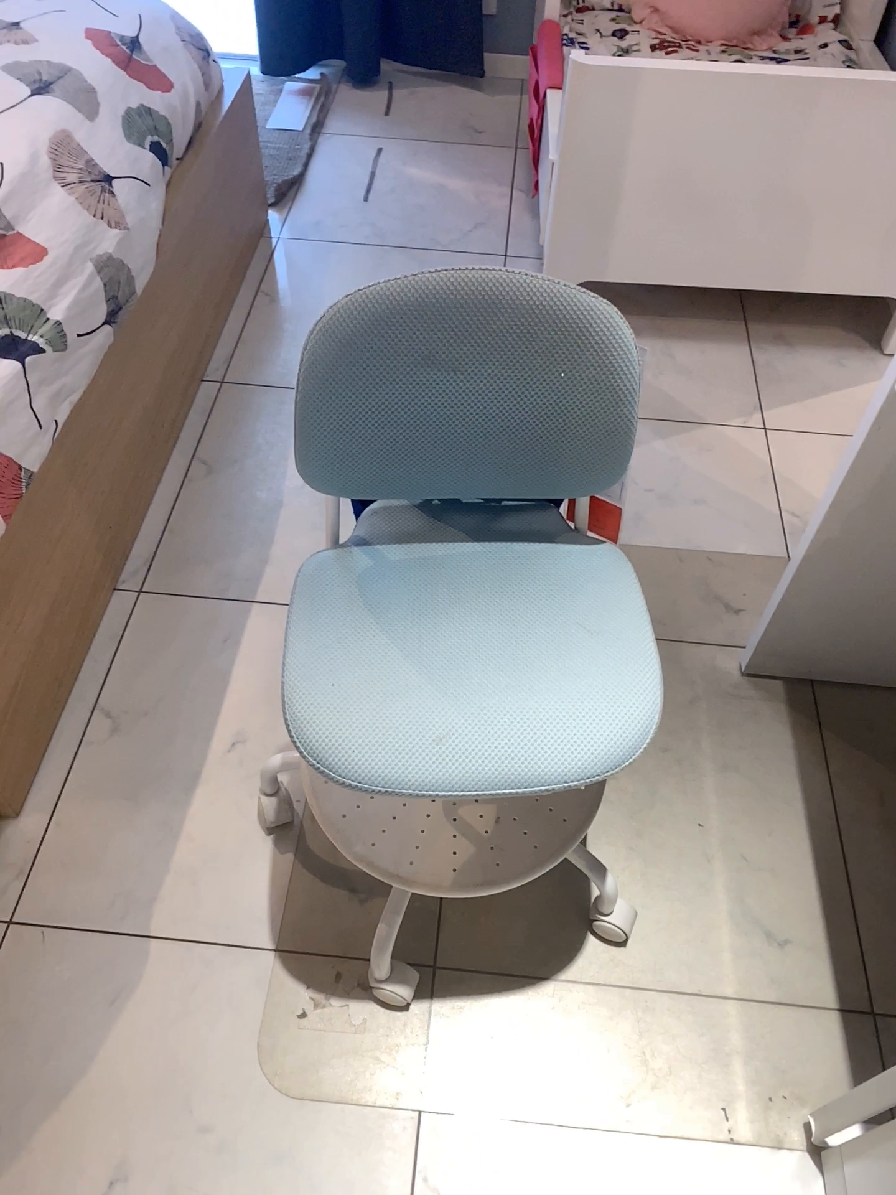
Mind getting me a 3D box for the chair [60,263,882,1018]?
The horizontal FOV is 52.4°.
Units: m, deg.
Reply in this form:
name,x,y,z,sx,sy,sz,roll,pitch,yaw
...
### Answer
name,x,y,z,sx,sy,sz,roll,pitch,yaw
chair,-0.002,0.082,1.137,0.600,0.718,0.622,-1,51,-3
